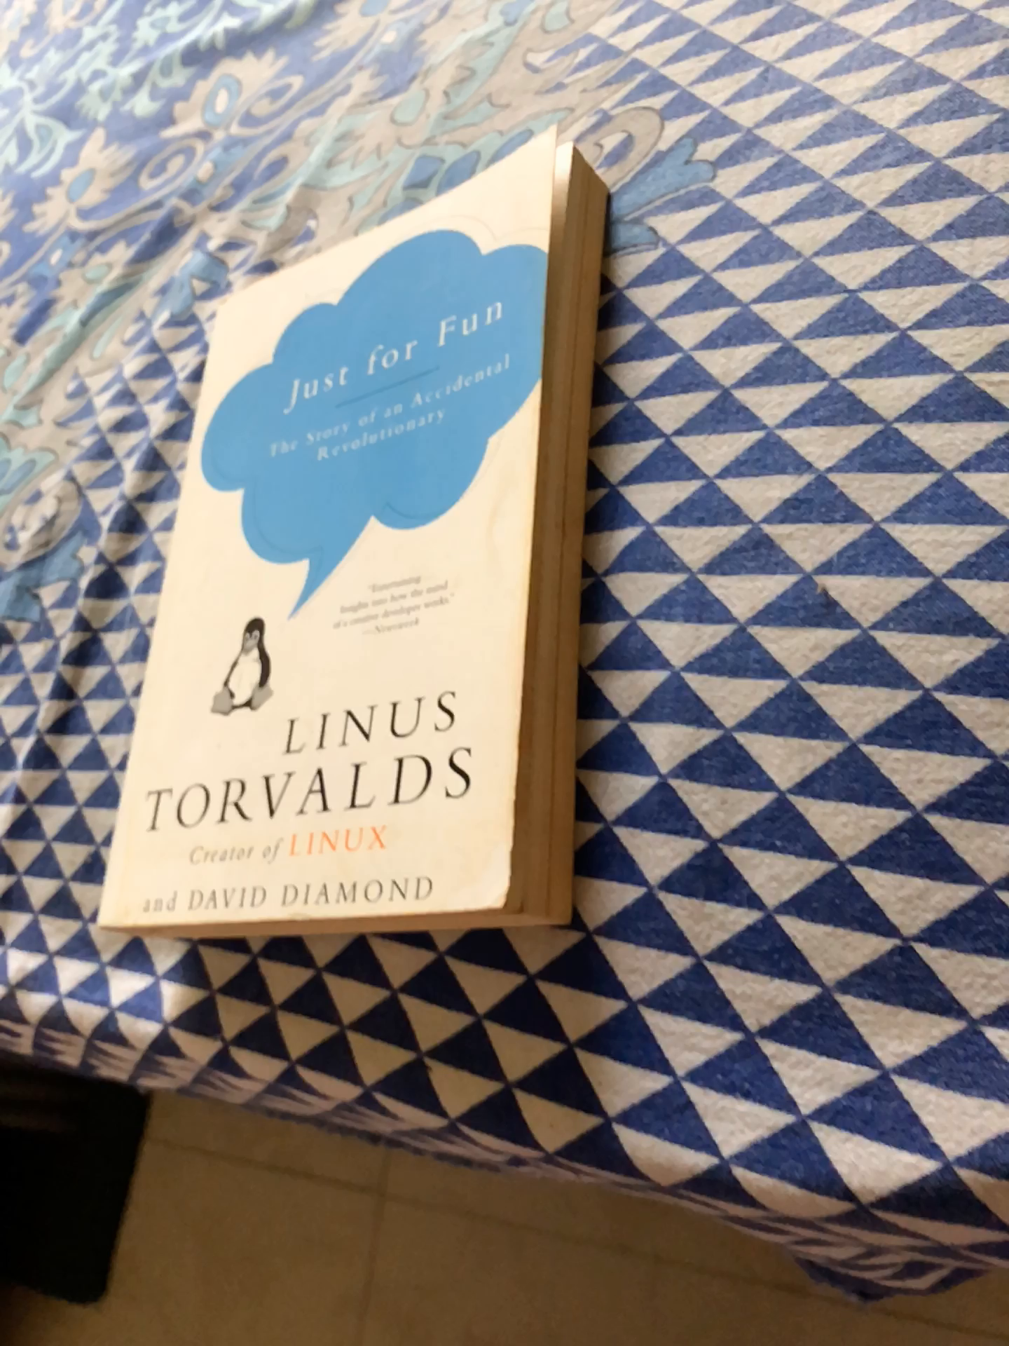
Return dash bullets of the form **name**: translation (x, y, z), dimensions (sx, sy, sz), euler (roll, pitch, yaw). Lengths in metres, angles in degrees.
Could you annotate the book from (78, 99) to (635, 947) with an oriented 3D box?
- **book**: translation (-0.038, -0.036, 0.307), dimensions (0.141, 0.030, 0.210), euler (-11, 64, 34)
